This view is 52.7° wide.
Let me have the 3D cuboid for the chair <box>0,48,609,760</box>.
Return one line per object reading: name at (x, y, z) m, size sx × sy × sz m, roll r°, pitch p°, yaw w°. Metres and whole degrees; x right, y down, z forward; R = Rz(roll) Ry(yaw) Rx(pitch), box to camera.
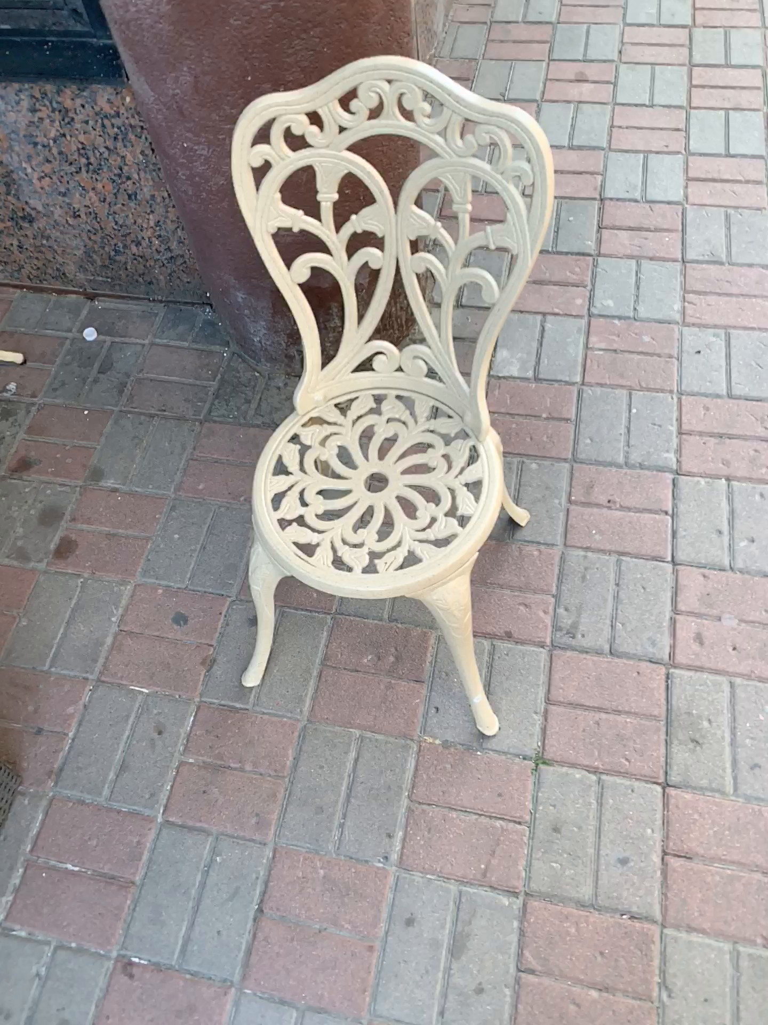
chair at (-0.017, -0.081, 1.083) m, size 0.480 × 0.798 × 0.551 m, roll 9°, pitch 60°, yaw 11°
